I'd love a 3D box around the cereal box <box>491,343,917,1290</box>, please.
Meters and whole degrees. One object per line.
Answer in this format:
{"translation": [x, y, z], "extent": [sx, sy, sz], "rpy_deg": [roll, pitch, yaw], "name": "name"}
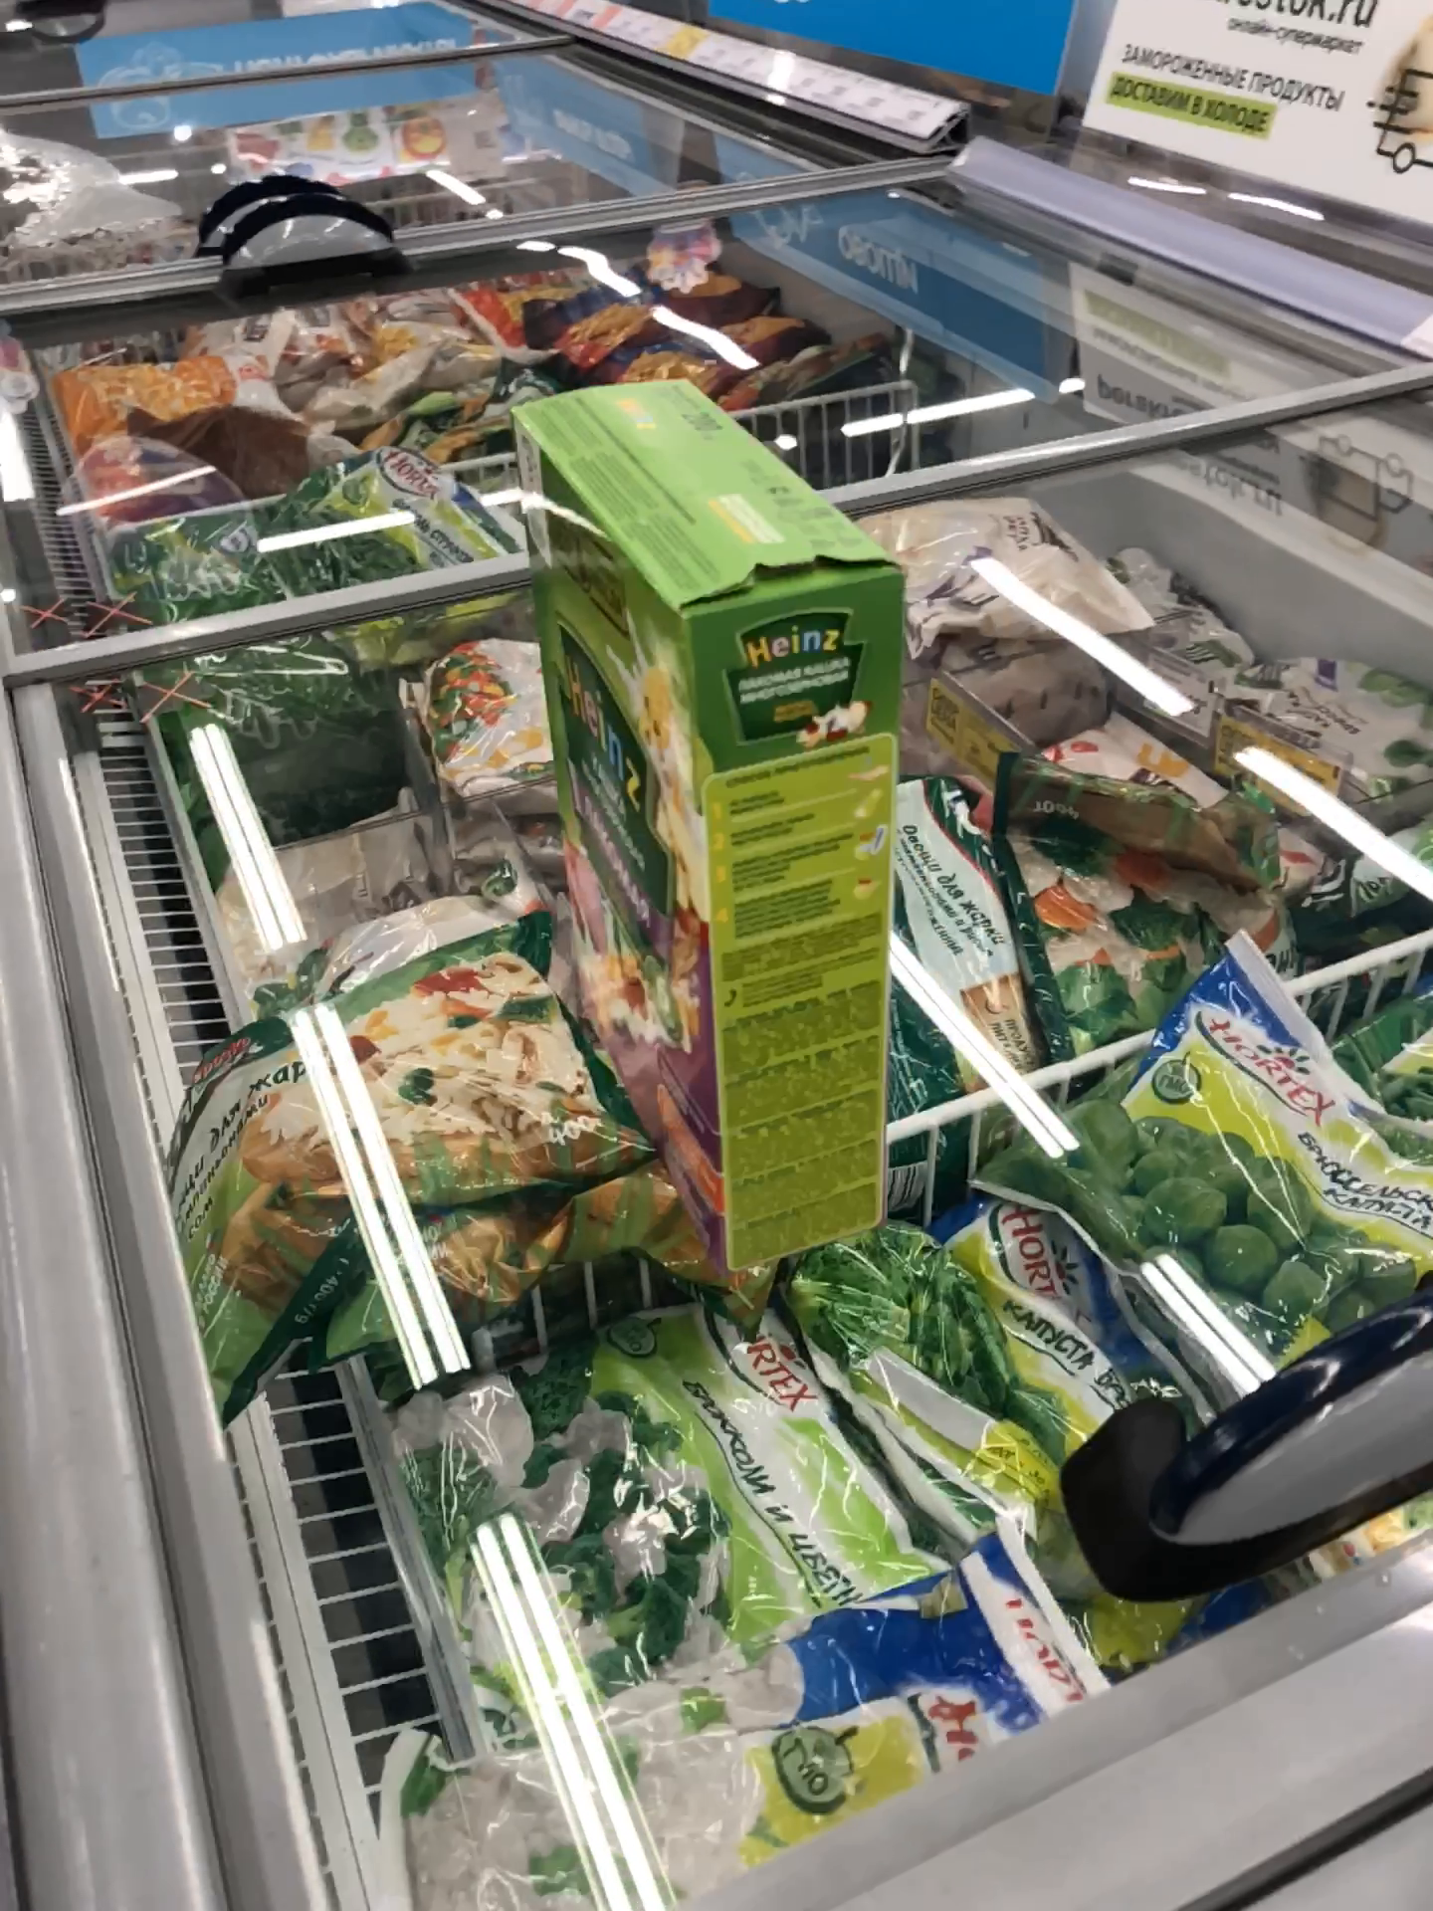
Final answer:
{"translation": [-0.005, -0.036, 0.414], "extent": [0.050, 0.199, 0.141], "rpy_deg": [-15, 39, -15], "name": "cereal box"}
